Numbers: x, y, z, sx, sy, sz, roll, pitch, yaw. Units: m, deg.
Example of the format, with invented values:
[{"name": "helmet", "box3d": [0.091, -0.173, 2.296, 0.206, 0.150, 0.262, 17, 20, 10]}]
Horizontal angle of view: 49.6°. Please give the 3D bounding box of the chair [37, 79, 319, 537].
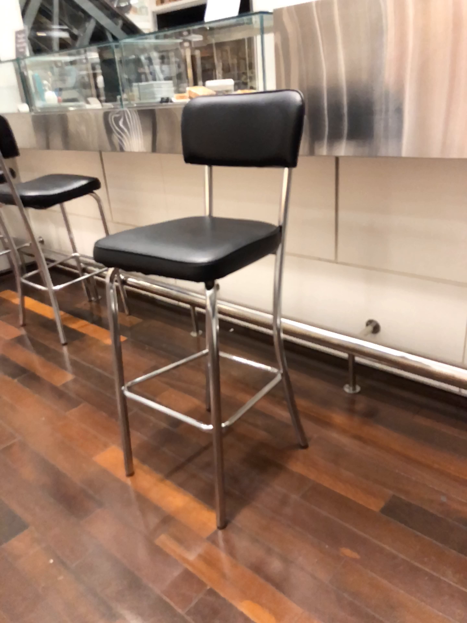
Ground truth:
[{"name": "chair", "box3d": [-0.083, -0.037, 1.341, 0.421, 1.013, 0.472, 13, 28, 37]}]
